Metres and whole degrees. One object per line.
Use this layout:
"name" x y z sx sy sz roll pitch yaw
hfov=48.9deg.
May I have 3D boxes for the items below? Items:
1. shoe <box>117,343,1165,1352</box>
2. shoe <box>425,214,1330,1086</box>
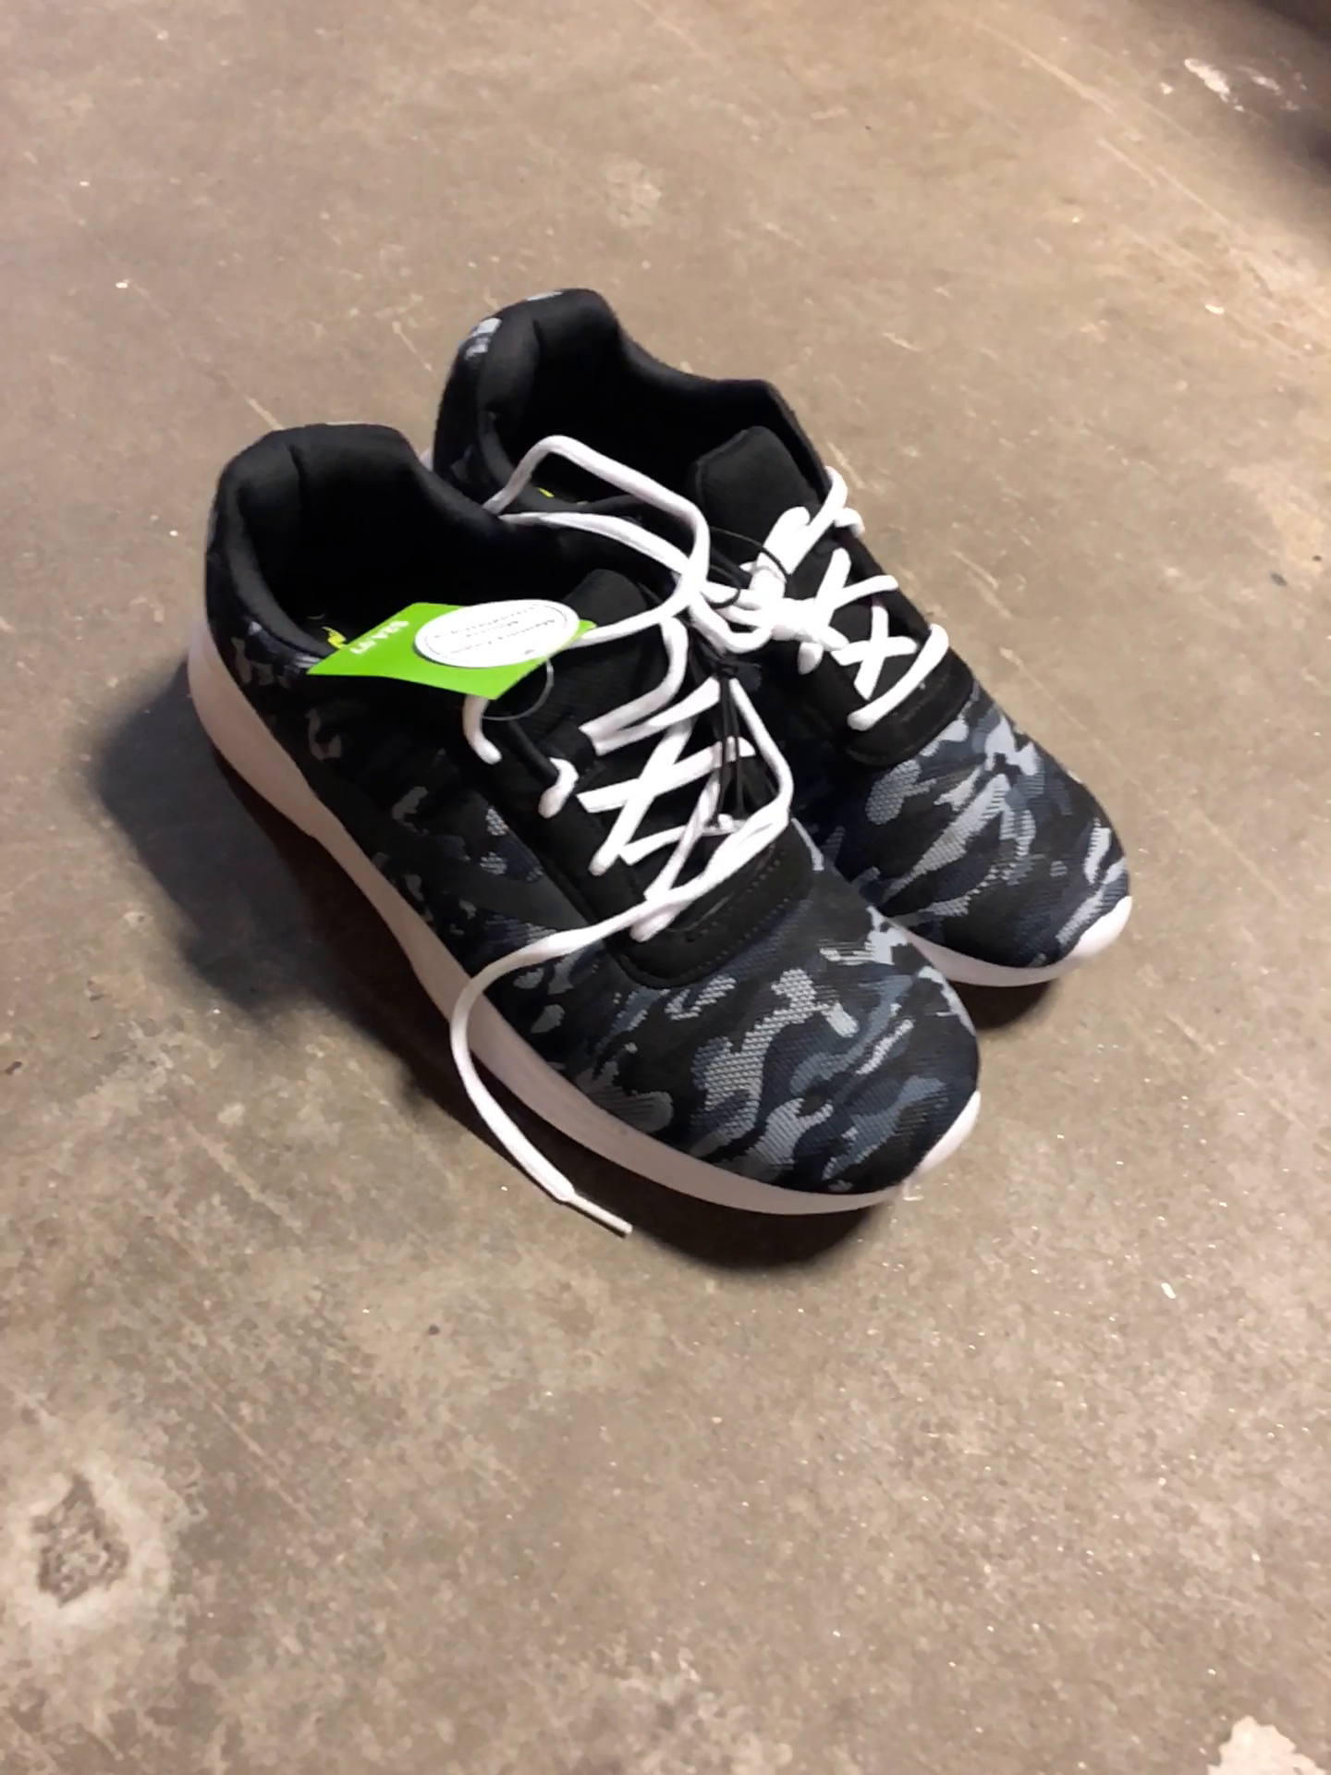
"shoe" -0.019 -0.016 0.428 0.261 0.139 0.110 38 58 17
"shoe" 0.054 -0.085 0.499 0.261 0.139 0.121 38 58 17
